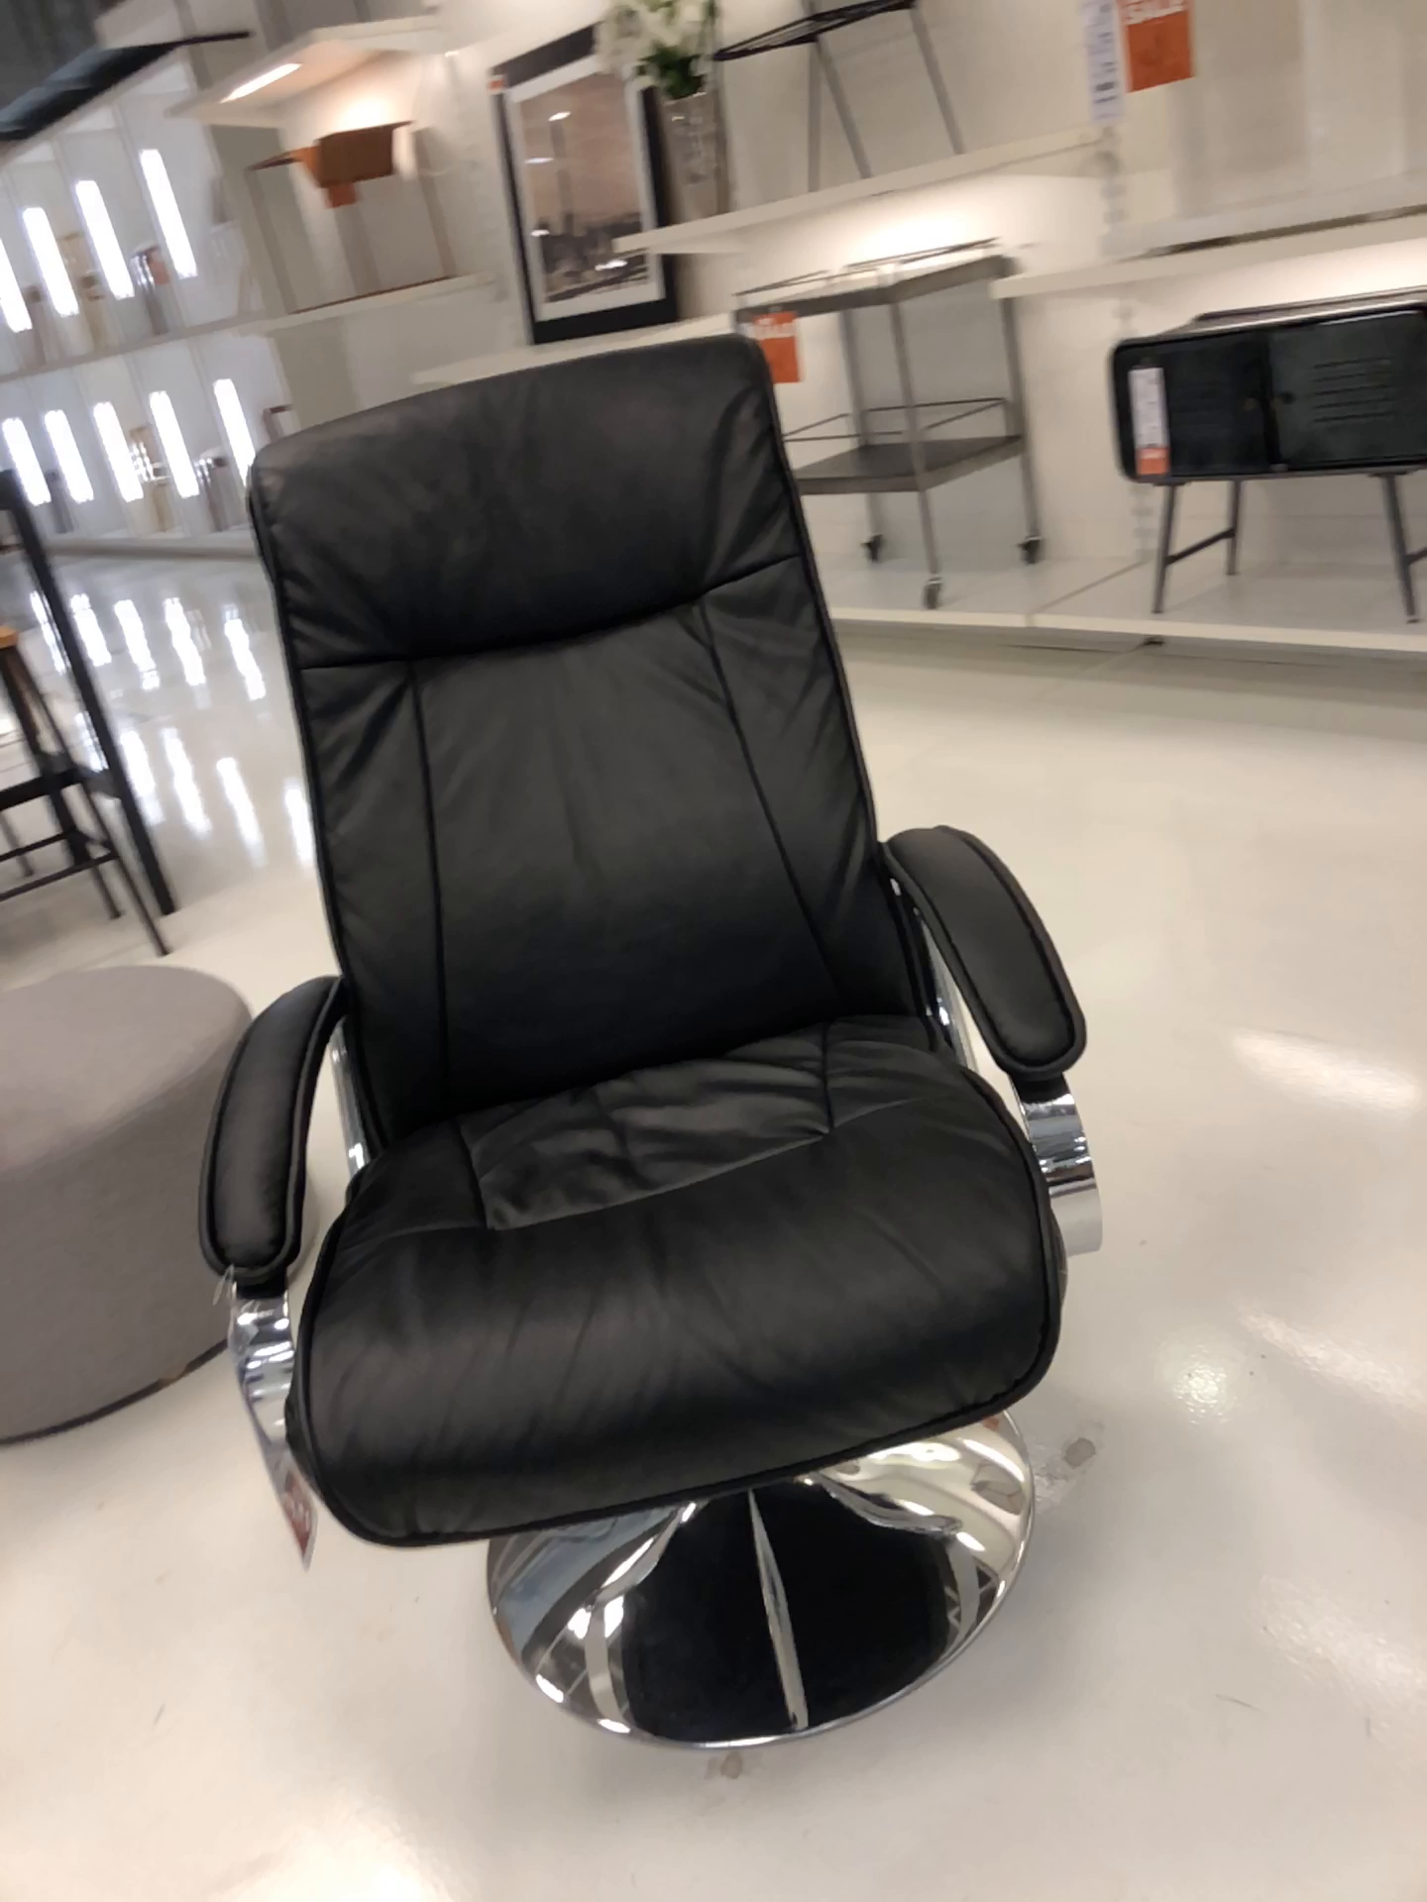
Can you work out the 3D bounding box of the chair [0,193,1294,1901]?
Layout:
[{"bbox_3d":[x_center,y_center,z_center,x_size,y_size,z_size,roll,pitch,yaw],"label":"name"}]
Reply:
[{"bbox_3d":[-0.057,0.051,1.384,0.750,1.132,0.725,-15,23,-5],"label":"chair"}]
